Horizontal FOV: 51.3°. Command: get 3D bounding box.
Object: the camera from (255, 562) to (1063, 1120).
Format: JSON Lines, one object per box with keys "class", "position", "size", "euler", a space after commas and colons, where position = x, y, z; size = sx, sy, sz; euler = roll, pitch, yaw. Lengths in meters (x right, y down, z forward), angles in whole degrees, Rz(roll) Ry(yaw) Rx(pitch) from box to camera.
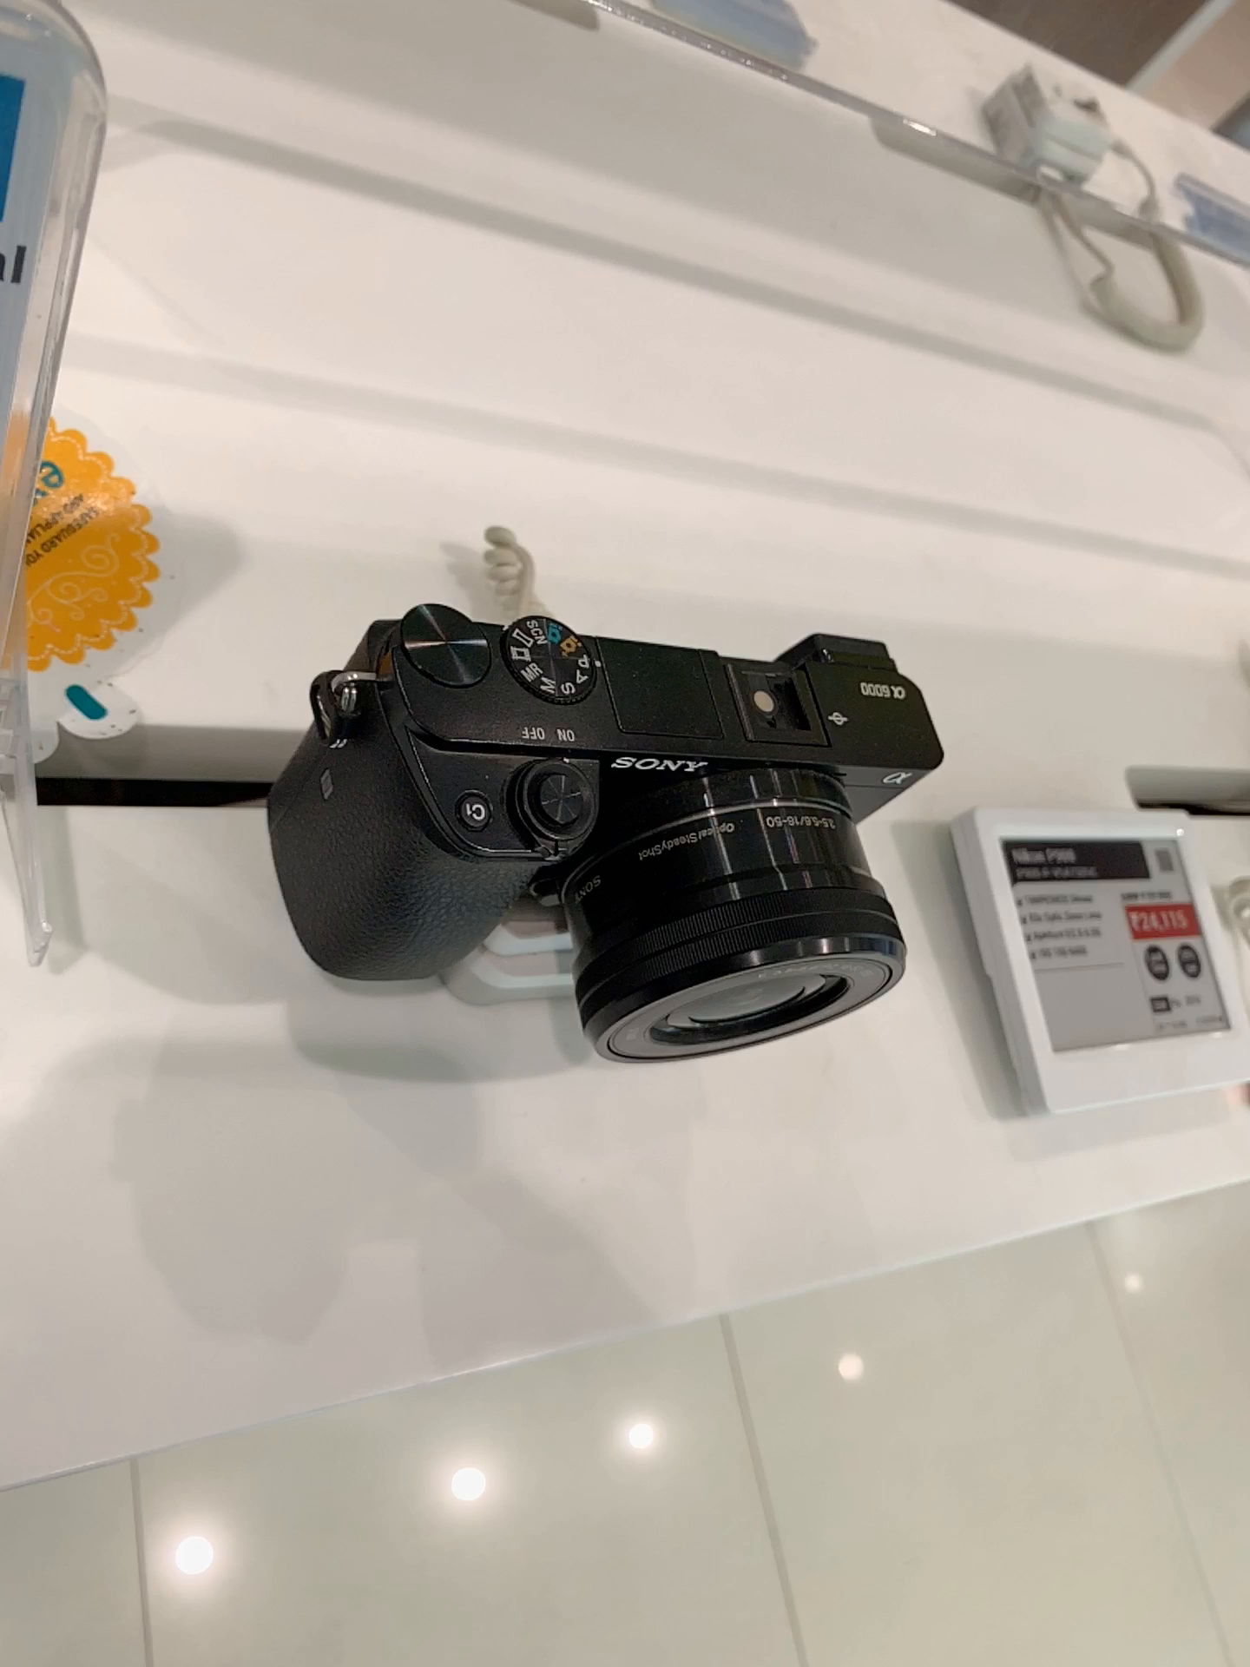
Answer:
{"class": "camera", "position": [0.004, 0.004, 0.212], "size": [0.104, 0.063, 0.058], "euler": [0, 66, -33]}
